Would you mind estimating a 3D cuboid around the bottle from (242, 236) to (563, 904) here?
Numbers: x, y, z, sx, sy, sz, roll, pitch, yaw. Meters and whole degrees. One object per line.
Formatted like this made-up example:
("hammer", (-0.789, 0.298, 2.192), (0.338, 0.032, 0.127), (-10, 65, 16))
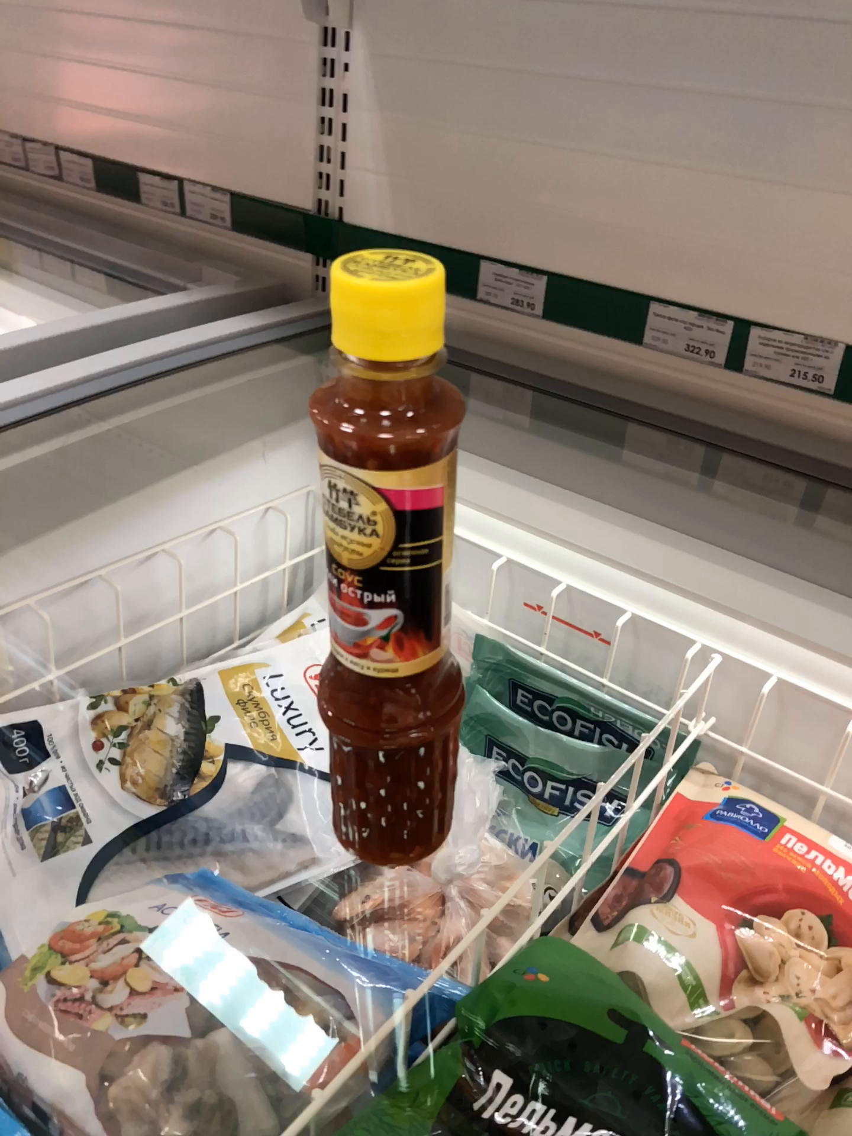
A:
("bottle", (-0.009, 0.007, 0.300), (0.060, 0.199, 0.060), (2, 32, -1))
